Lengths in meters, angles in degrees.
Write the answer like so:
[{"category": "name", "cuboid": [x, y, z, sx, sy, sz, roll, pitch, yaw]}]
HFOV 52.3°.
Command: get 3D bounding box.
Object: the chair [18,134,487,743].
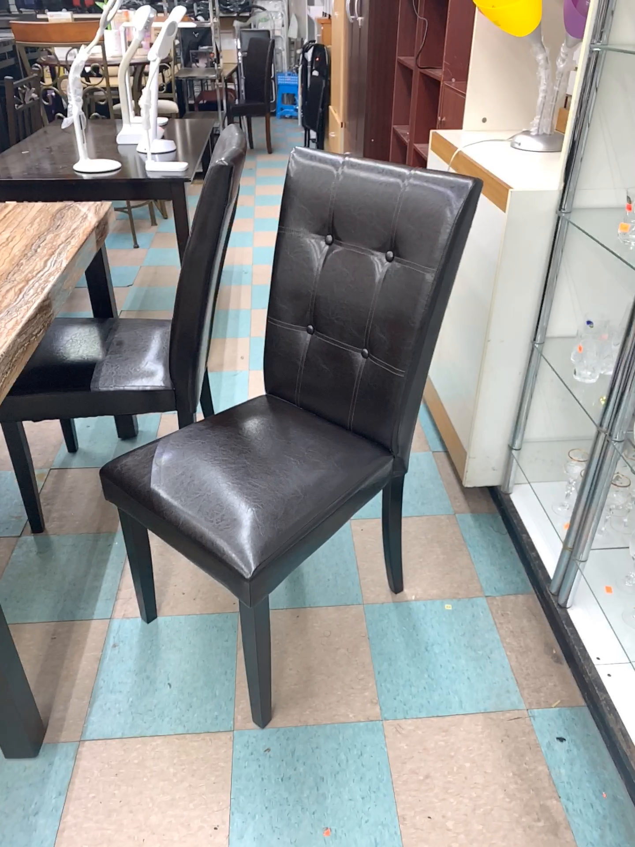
[{"category": "chair", "cuboid": [-0.092, 0.006, 1.278, 0.485, 0.949, 0.556, 27, 42, 35]}]
